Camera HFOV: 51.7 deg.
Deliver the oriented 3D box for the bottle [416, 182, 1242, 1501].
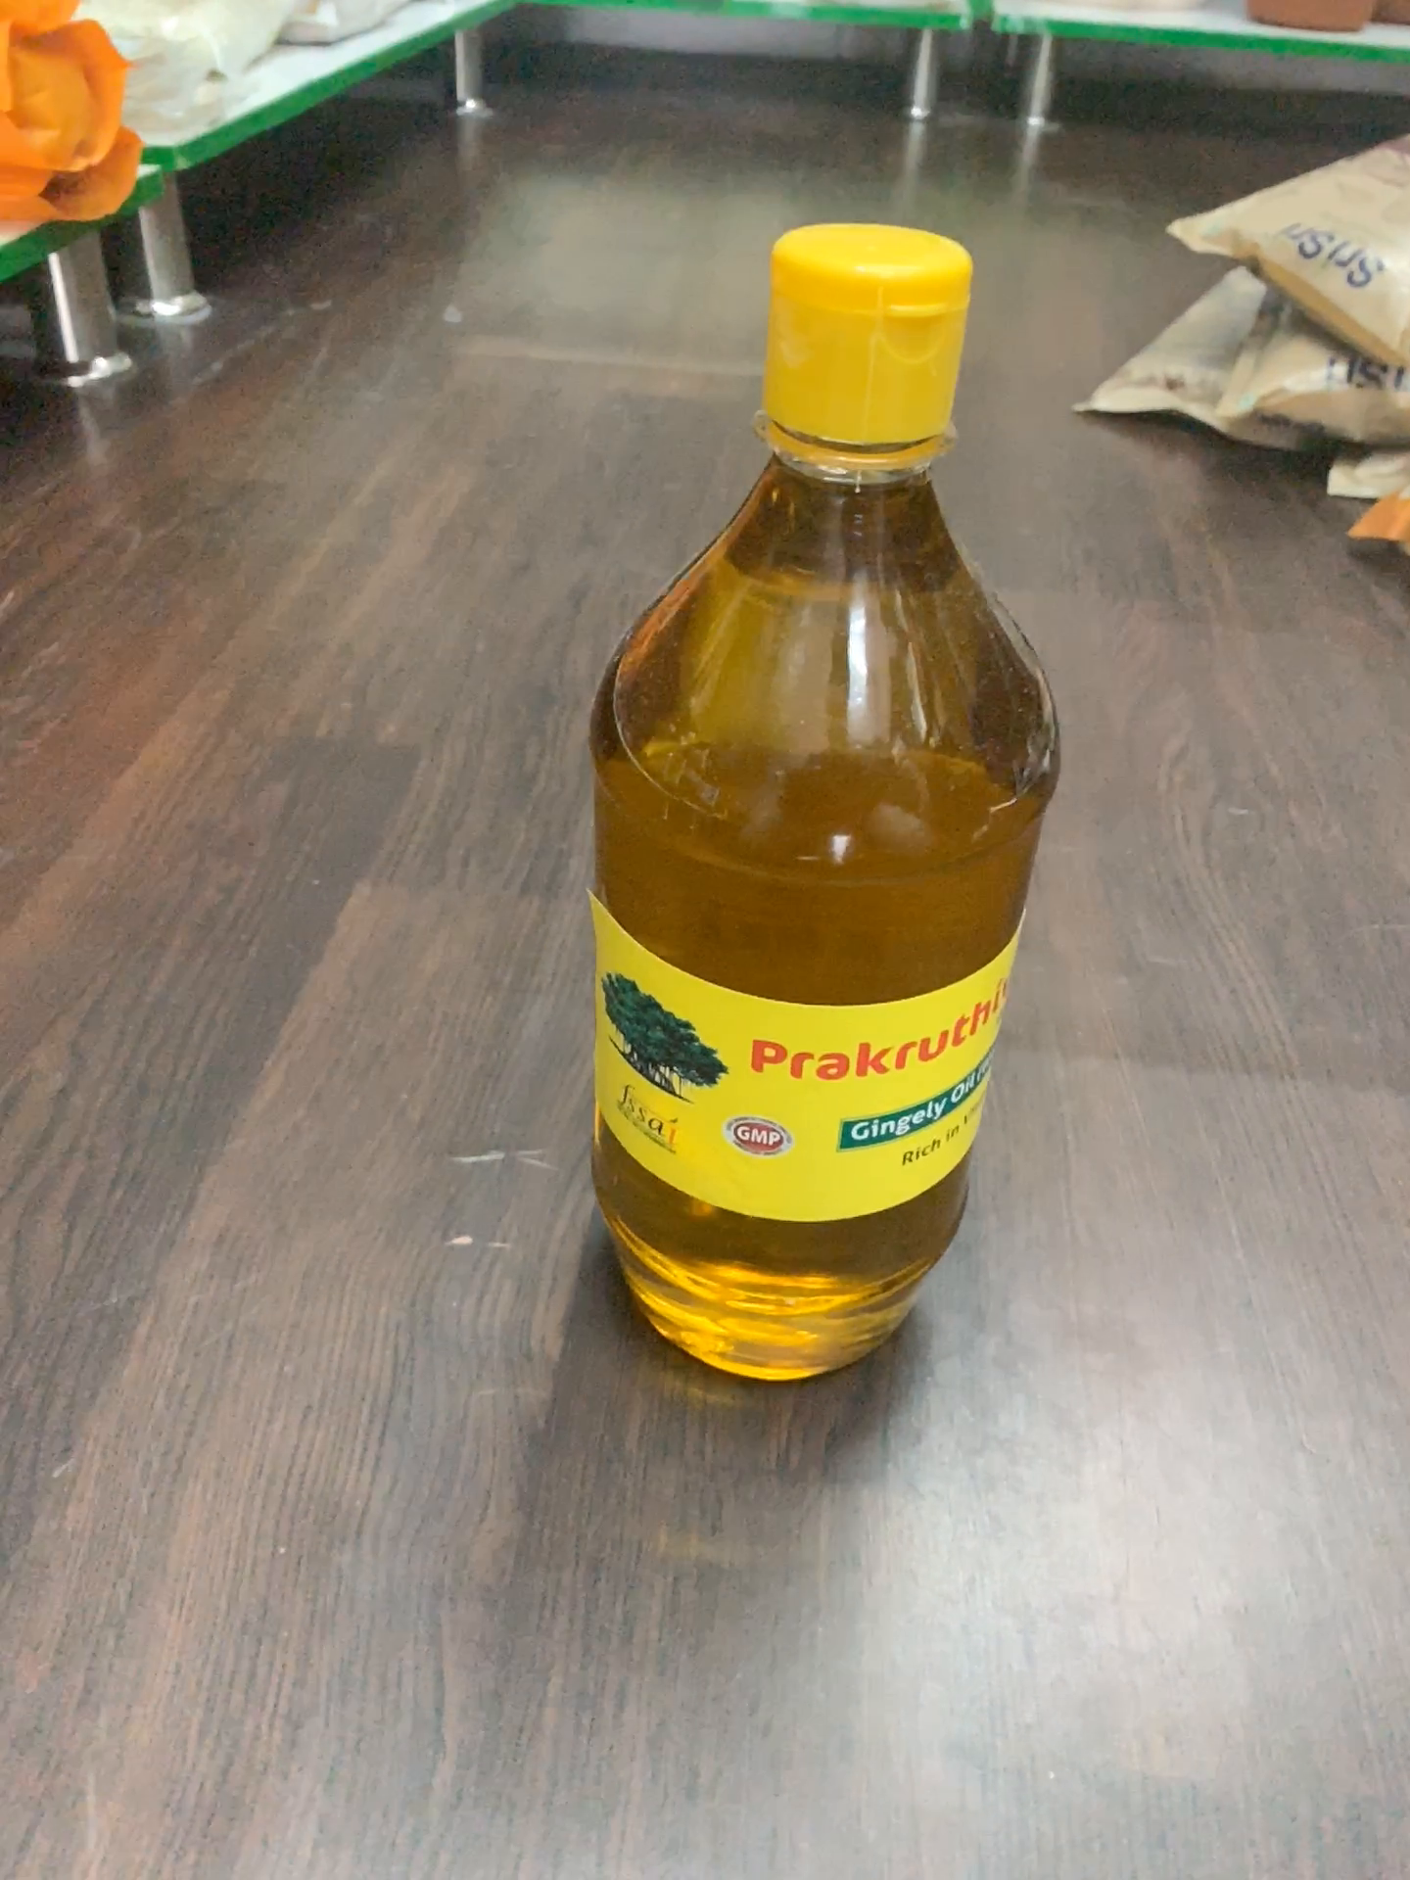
[{"bbox_3d":[0.018,-0.011,0.279,0.090,0.219,0.090,2,38,-1],"label":"bottle"}]
